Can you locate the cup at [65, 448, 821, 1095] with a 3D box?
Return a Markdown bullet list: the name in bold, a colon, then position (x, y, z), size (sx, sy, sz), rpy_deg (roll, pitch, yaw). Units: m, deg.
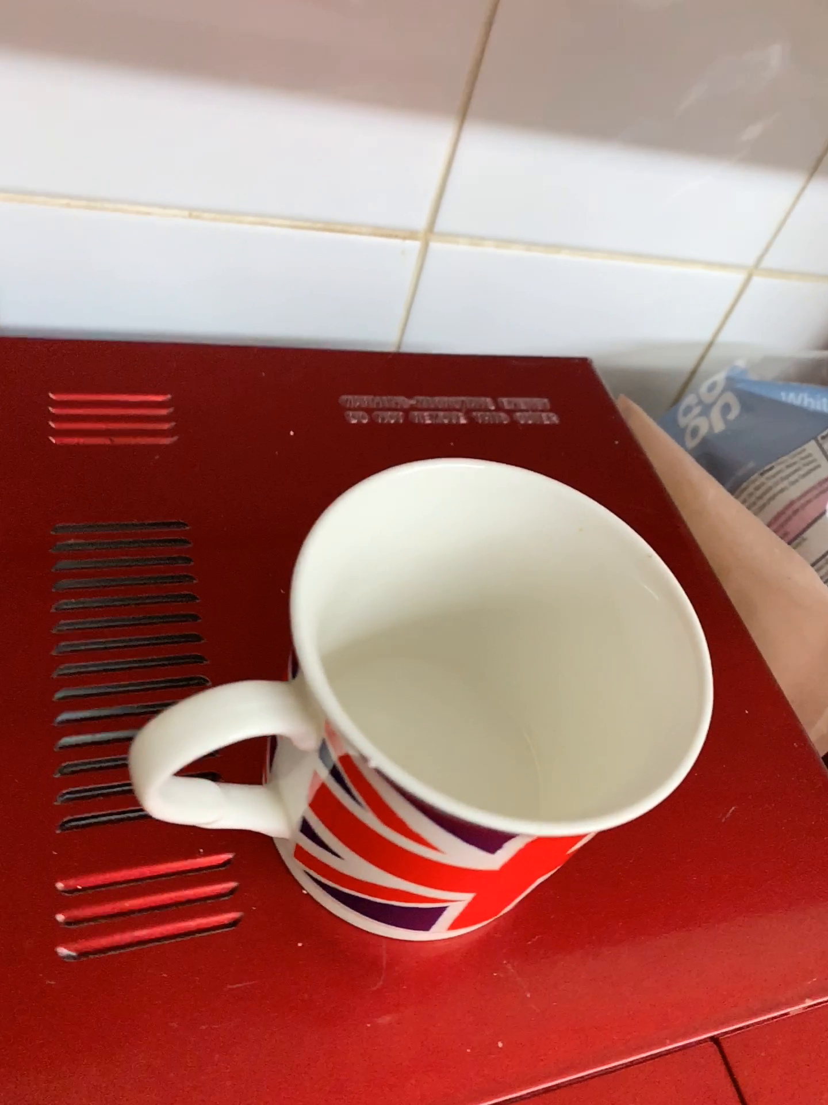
- **cup**: position (-0.002, 0.040, 0.185), size (0.120, 0.079, 0.081), rpy_deg (-10, 55, -26)
